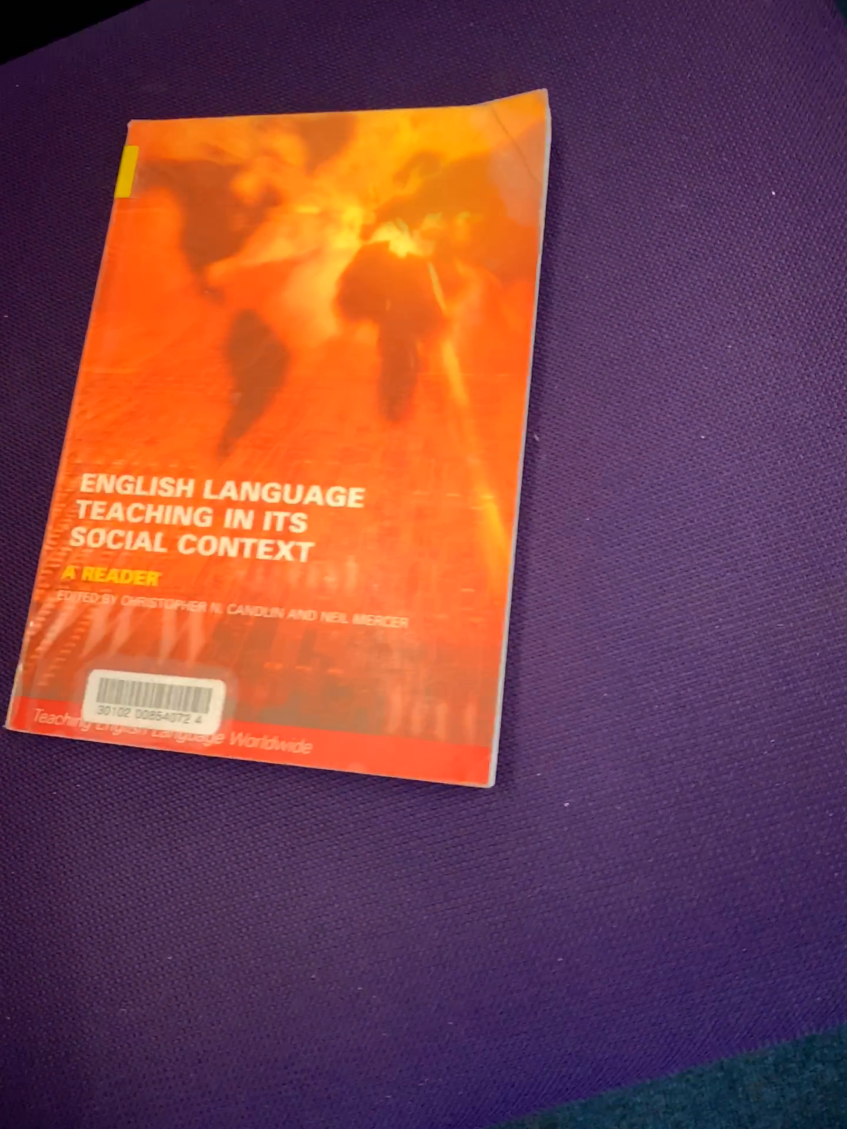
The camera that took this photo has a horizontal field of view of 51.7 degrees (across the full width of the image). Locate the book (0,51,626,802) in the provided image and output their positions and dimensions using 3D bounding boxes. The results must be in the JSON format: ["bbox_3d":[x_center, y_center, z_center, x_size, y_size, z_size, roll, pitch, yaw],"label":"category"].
[{"bbox_3d":[-0.041,-0.060,0.338,0.220,0.050,0.270,3,75,12],"label":"book"}]
